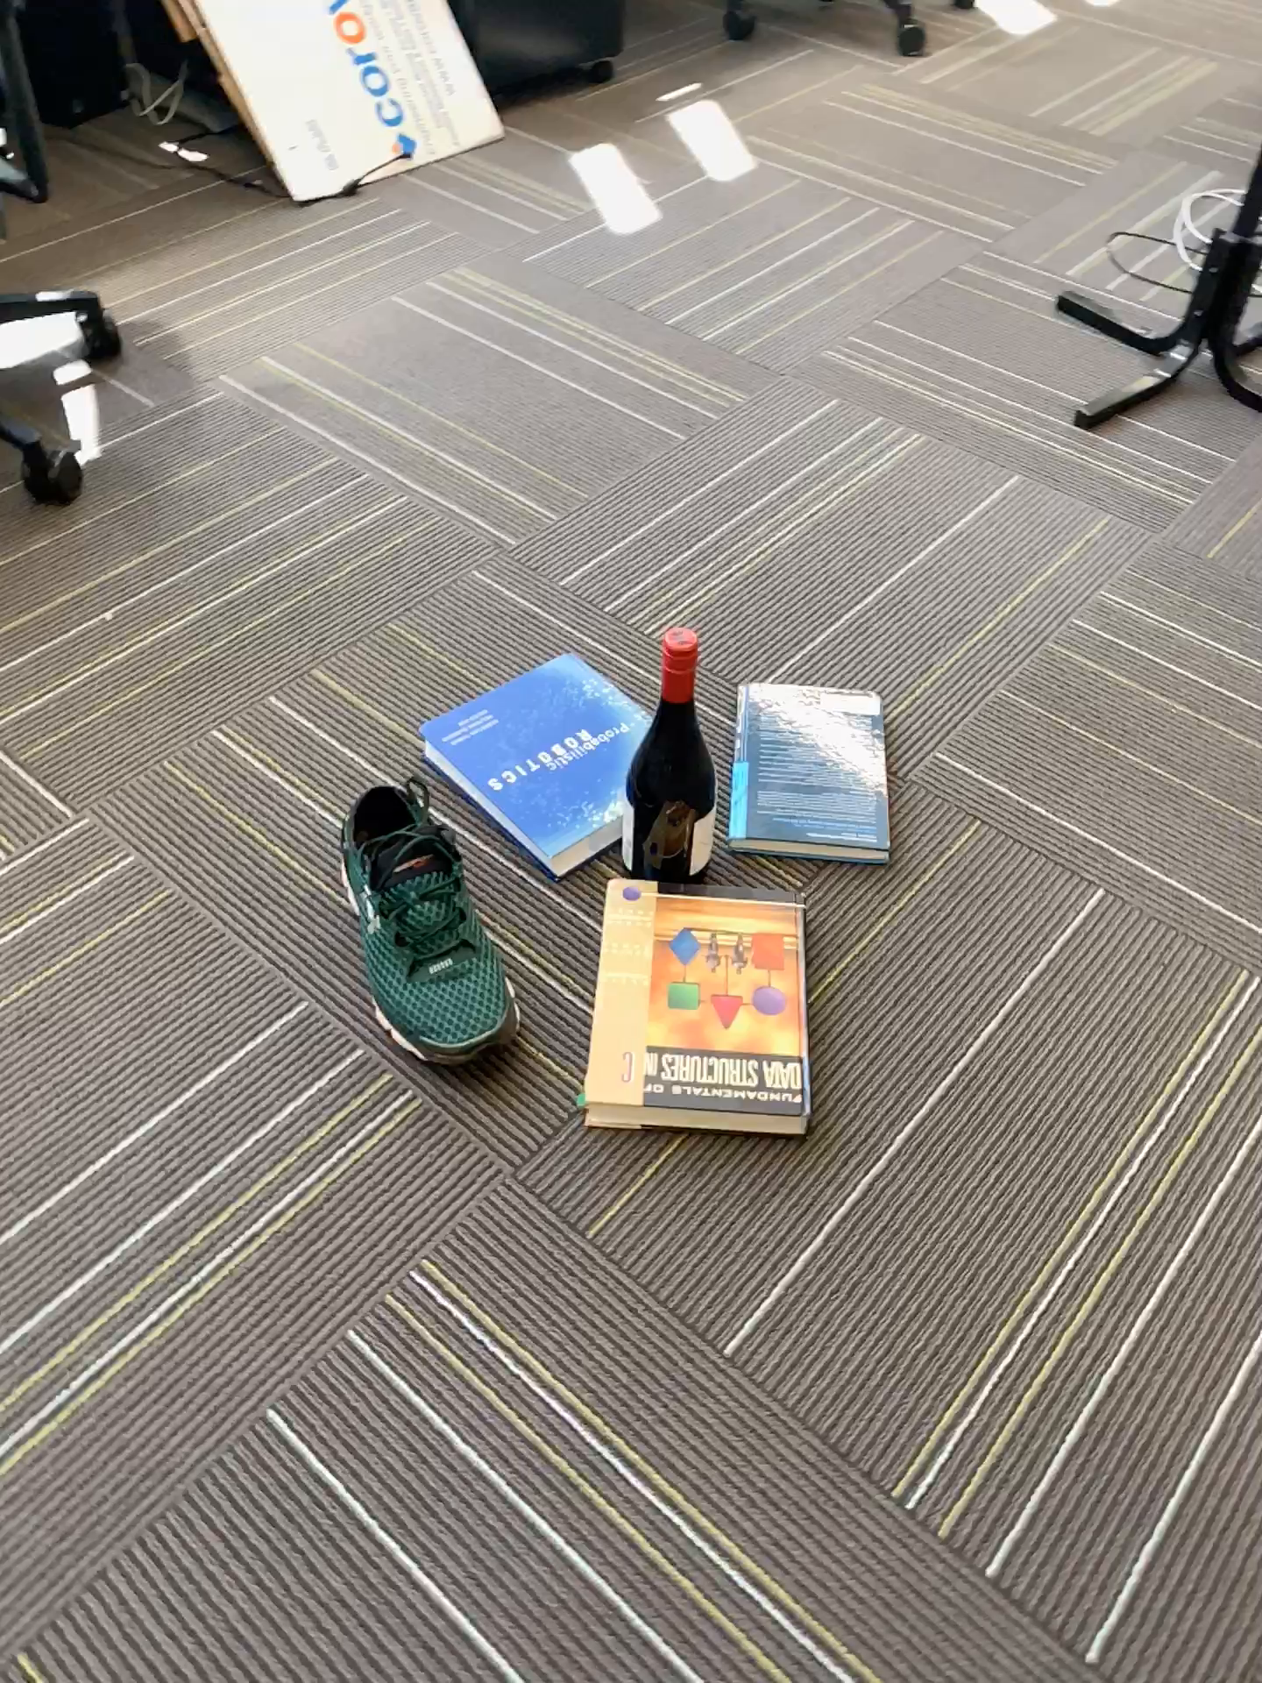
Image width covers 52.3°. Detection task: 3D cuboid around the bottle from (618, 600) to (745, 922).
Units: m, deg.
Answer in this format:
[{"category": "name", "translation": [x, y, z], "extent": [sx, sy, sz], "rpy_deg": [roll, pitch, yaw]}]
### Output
[{"category": "bottle", "translation": [0.041, -0.063, 1.156], "extent": [0.080, 0.298, 0.090], "rpy_deg": [12, 49, 8]}]
